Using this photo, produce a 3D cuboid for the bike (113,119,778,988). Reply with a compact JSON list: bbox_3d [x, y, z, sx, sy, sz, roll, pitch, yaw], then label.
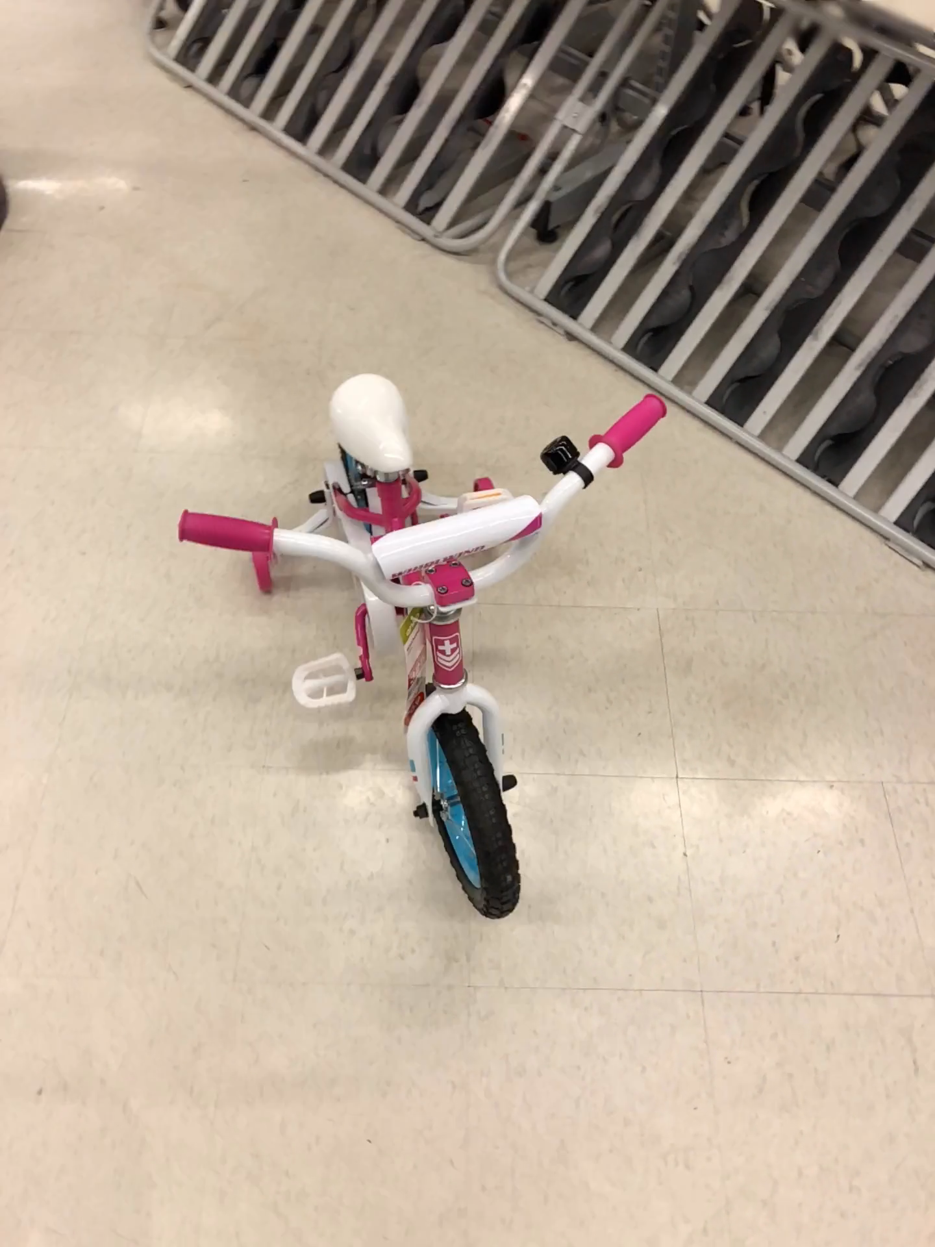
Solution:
[{"bbox_3d":[-0.098,-0.100,1.263,0.461,0.625,0.818,-12,55,-11],"label":"bike"}]
